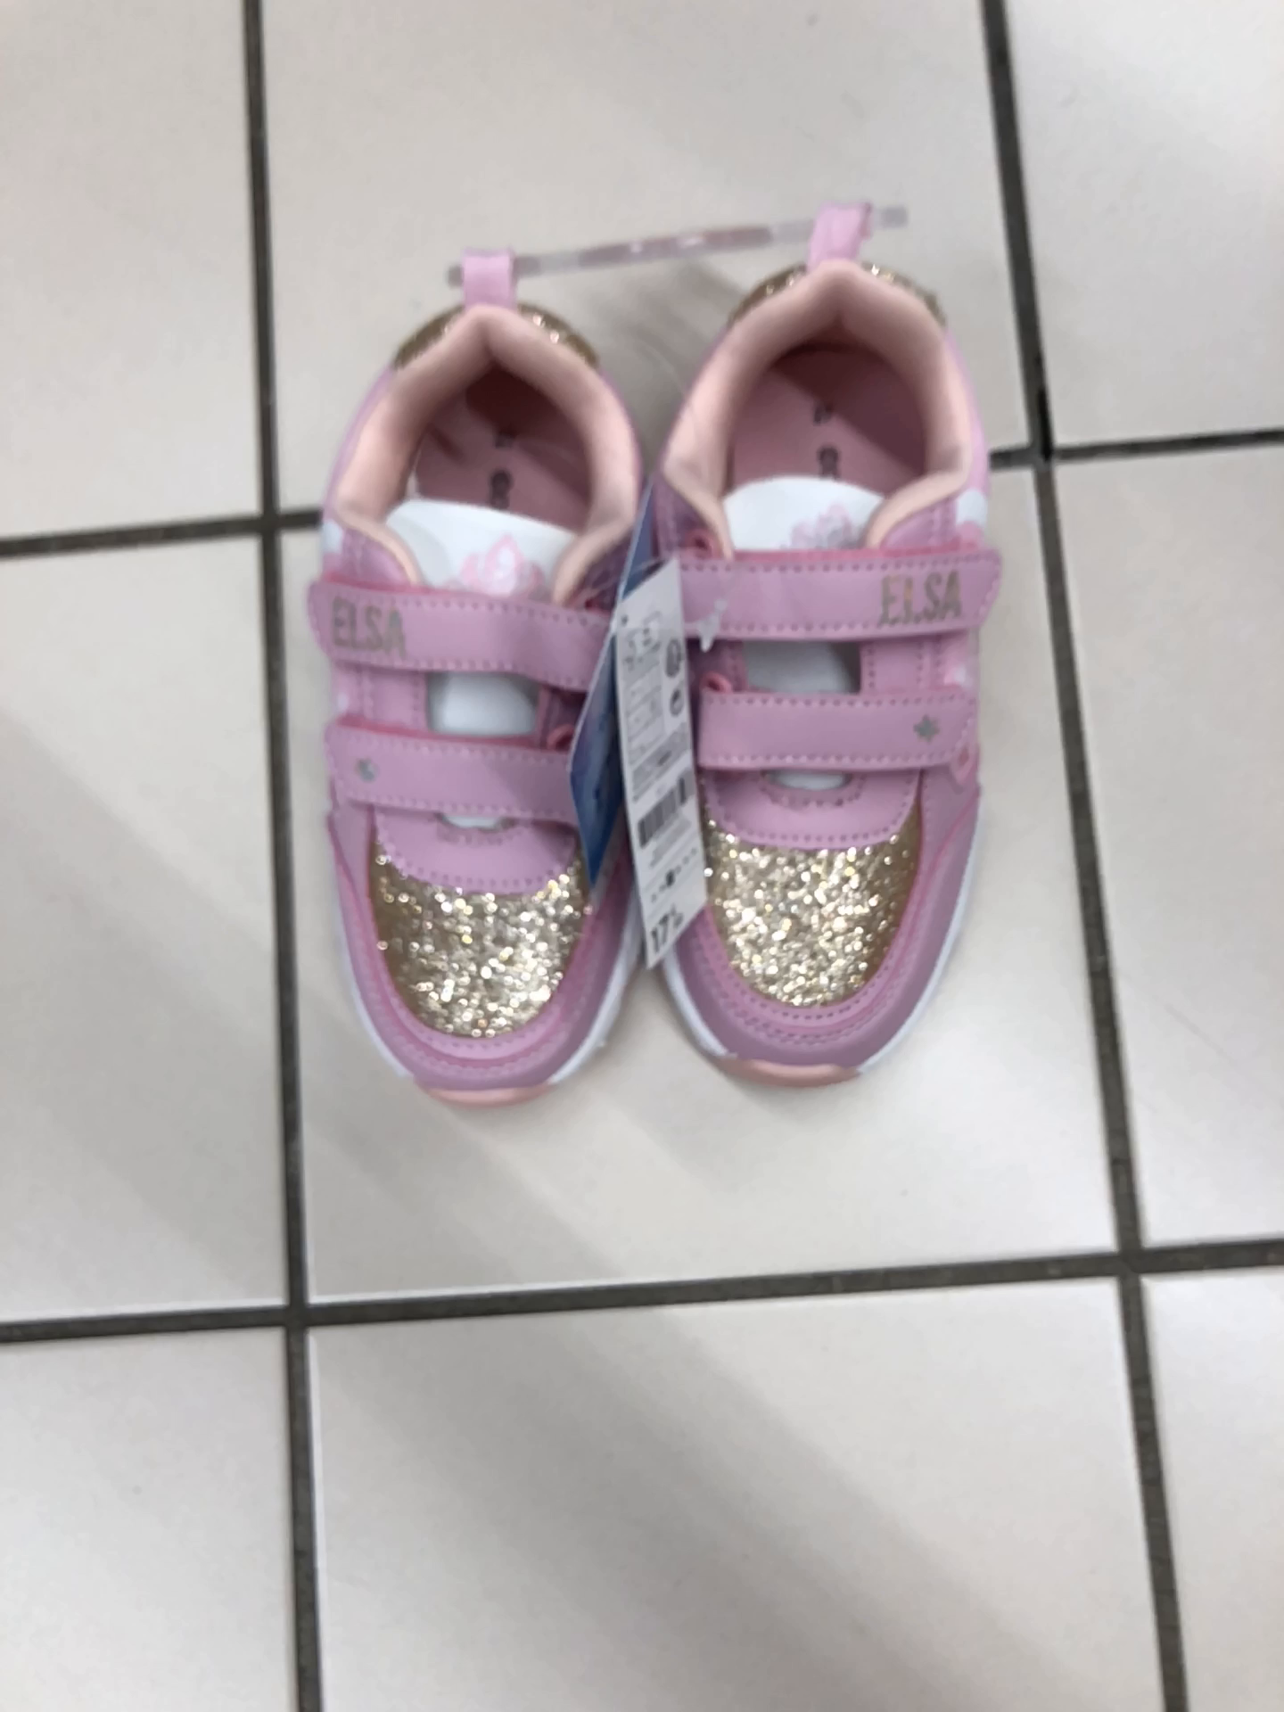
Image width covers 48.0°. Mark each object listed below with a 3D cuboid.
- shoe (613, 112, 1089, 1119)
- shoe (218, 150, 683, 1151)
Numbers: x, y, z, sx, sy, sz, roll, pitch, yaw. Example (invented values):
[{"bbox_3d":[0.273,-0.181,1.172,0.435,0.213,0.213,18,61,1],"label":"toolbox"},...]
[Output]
[{"bbox_3d":[0.040,-0.044,0.317,0.083,0.087,0.195,-1,82,3],"label":"shoe"},{"bbox_3d":[-0.036,-0.037,0.320,0.083,0.087,0.195,-1,82,3],"label":"shoe"}]
